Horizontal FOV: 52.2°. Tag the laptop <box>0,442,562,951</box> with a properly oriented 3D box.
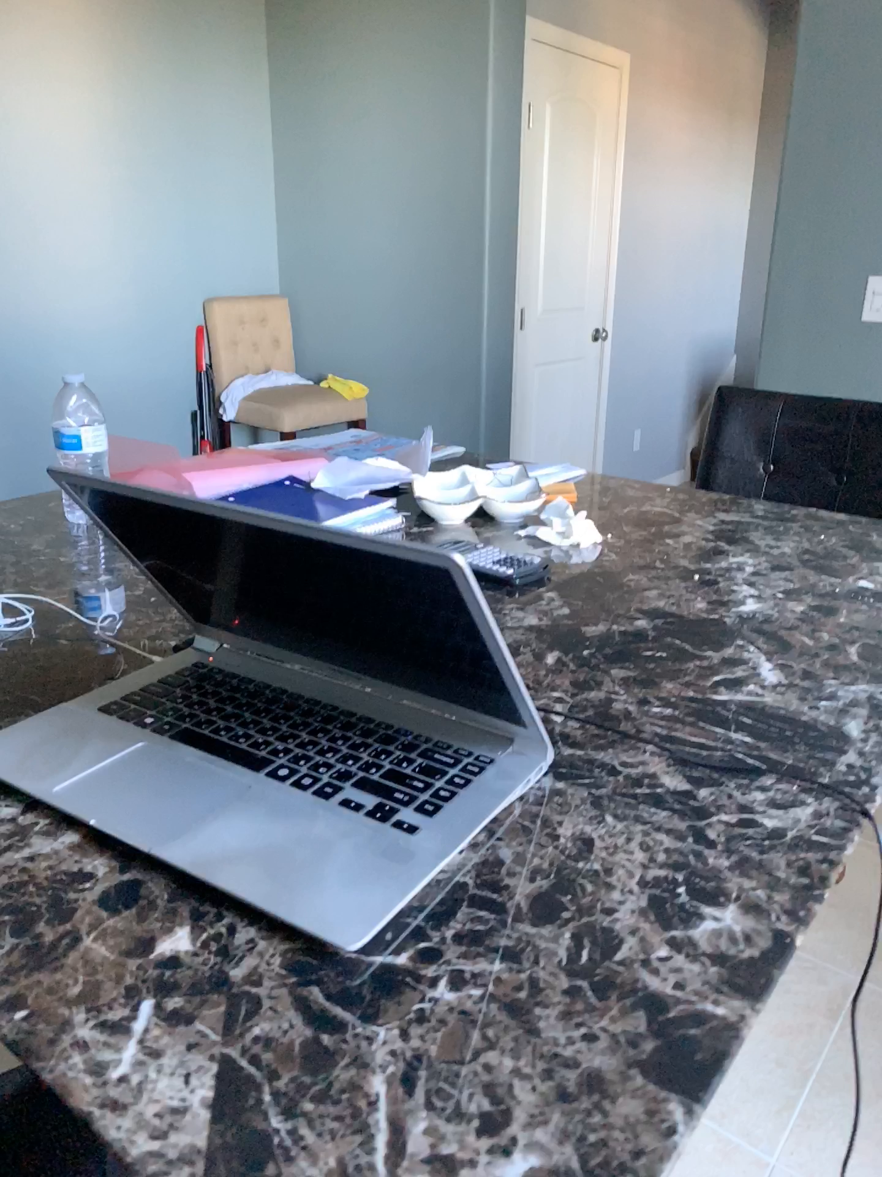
[{"bbox_3d":[-0.136,0.031,0.623,0.362,0.188,0.235,13,23,30],"label":"laptop"}]
